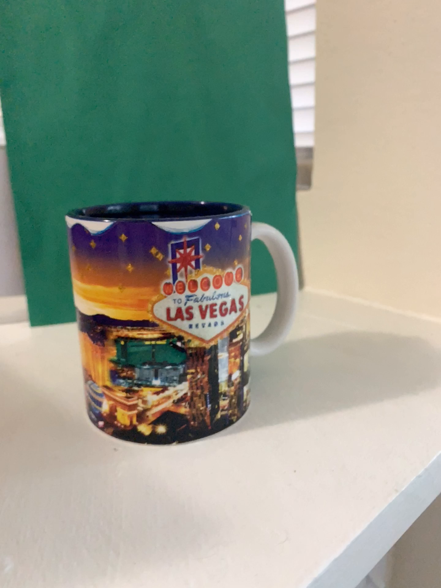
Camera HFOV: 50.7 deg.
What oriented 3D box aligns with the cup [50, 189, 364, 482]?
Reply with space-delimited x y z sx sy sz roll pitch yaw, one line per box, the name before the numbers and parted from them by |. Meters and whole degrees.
cup | -0.007 0.005 0.226 0.120 0.100 0.080 -10 18 -28
